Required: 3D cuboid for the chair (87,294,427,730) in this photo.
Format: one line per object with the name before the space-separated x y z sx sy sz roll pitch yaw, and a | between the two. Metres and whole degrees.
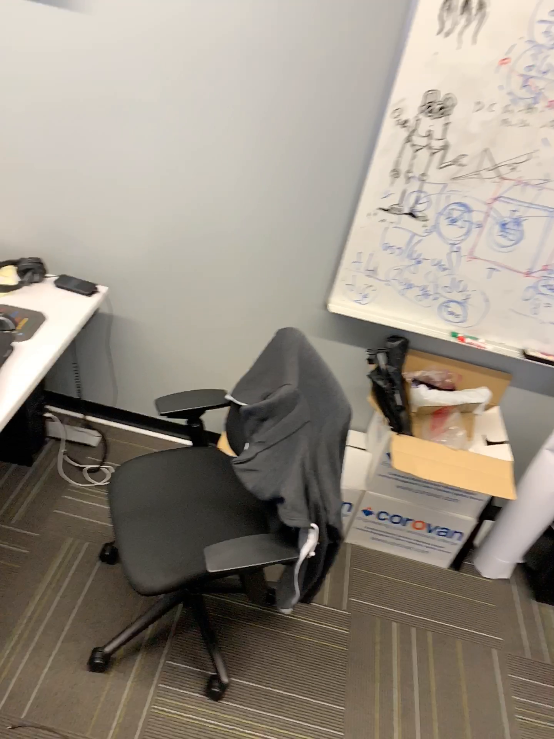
chair | -0.198 0.414 1.738 0.729 0.994 0.775 0 38 -18
